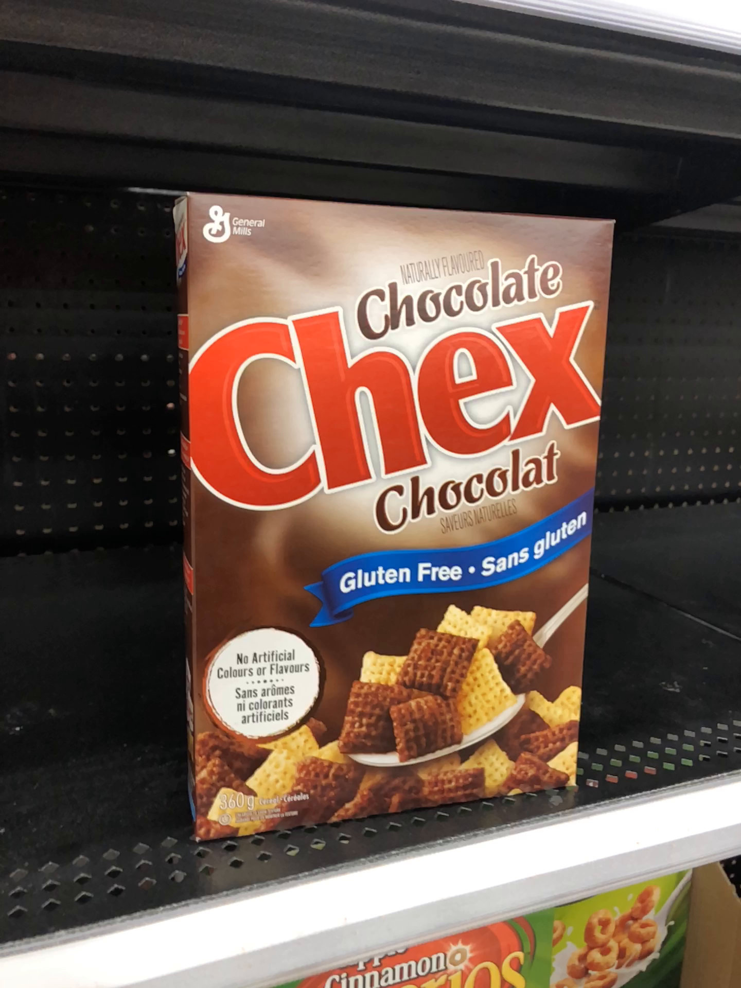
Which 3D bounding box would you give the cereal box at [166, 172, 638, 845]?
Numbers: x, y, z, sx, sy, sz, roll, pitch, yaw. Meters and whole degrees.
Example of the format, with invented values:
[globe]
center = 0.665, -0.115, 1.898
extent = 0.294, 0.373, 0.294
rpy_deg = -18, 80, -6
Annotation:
[cereal box]
center = 0.011, 0.008, 0.383
extent = 0.200, 0.279, 0.050
rpy_deg = -2, 11, -16
